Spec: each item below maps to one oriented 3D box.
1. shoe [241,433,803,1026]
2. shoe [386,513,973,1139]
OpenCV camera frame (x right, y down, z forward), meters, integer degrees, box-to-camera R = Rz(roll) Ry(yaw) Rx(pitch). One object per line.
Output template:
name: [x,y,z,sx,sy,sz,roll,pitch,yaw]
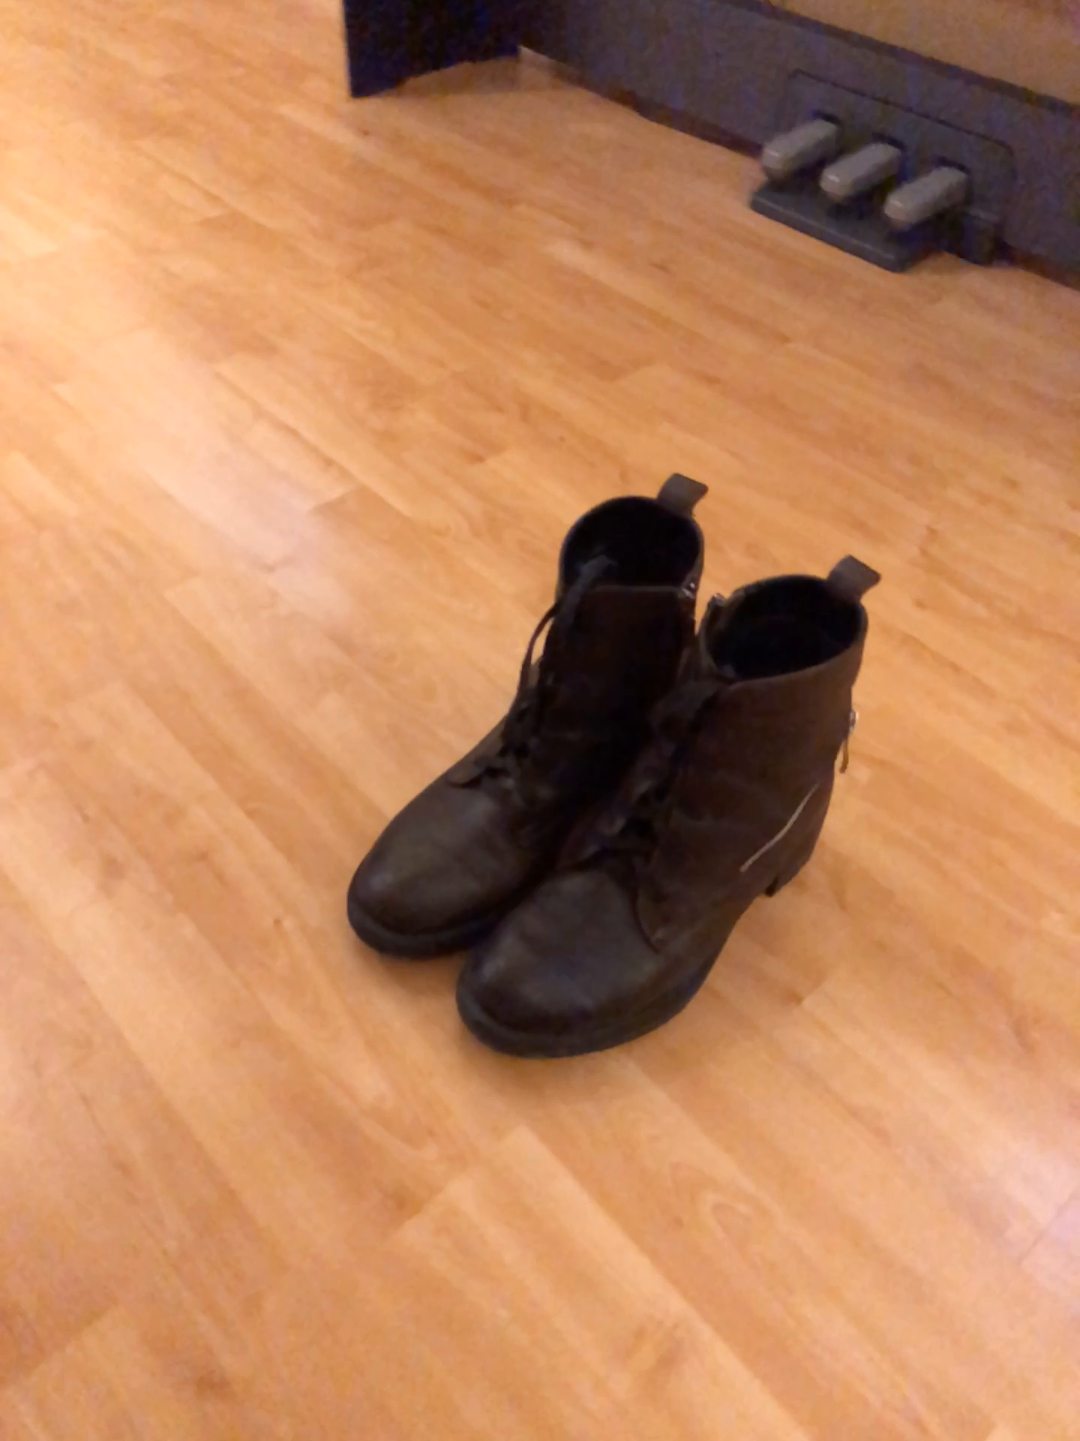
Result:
shoe: [-0.001,-0.003,0.633,0.271,0.179,0.110,-35,57,-30]
shoe: [0.070,0.046,0.600,0.271,0.179,0.110,-33,55,-28]
